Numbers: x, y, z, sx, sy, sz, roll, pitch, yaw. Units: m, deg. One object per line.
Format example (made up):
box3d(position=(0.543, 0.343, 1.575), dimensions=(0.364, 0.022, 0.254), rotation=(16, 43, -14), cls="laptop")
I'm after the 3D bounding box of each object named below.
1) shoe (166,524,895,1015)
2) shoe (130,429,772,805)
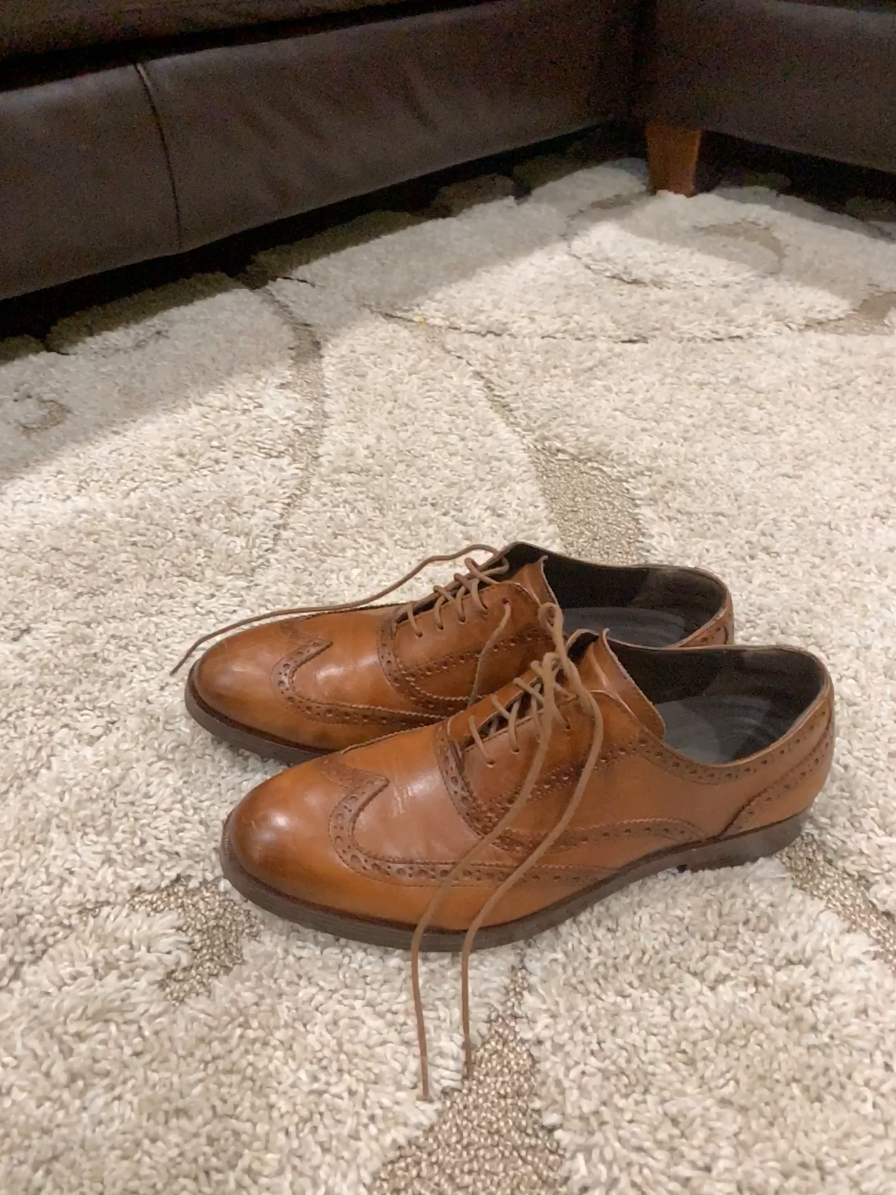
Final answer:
box3d(position=(0.033, 0.071, 0.407), dimensions=(0.280, 0.131, 0.106), rotation=(-9, 41, -9), cls="shoe")
box3d(position=(0.000, 0.008, 0.481), dimensions=(0.282, 0.131, 0.106), rotation=(-6, 40, -6), cls="shoe")
